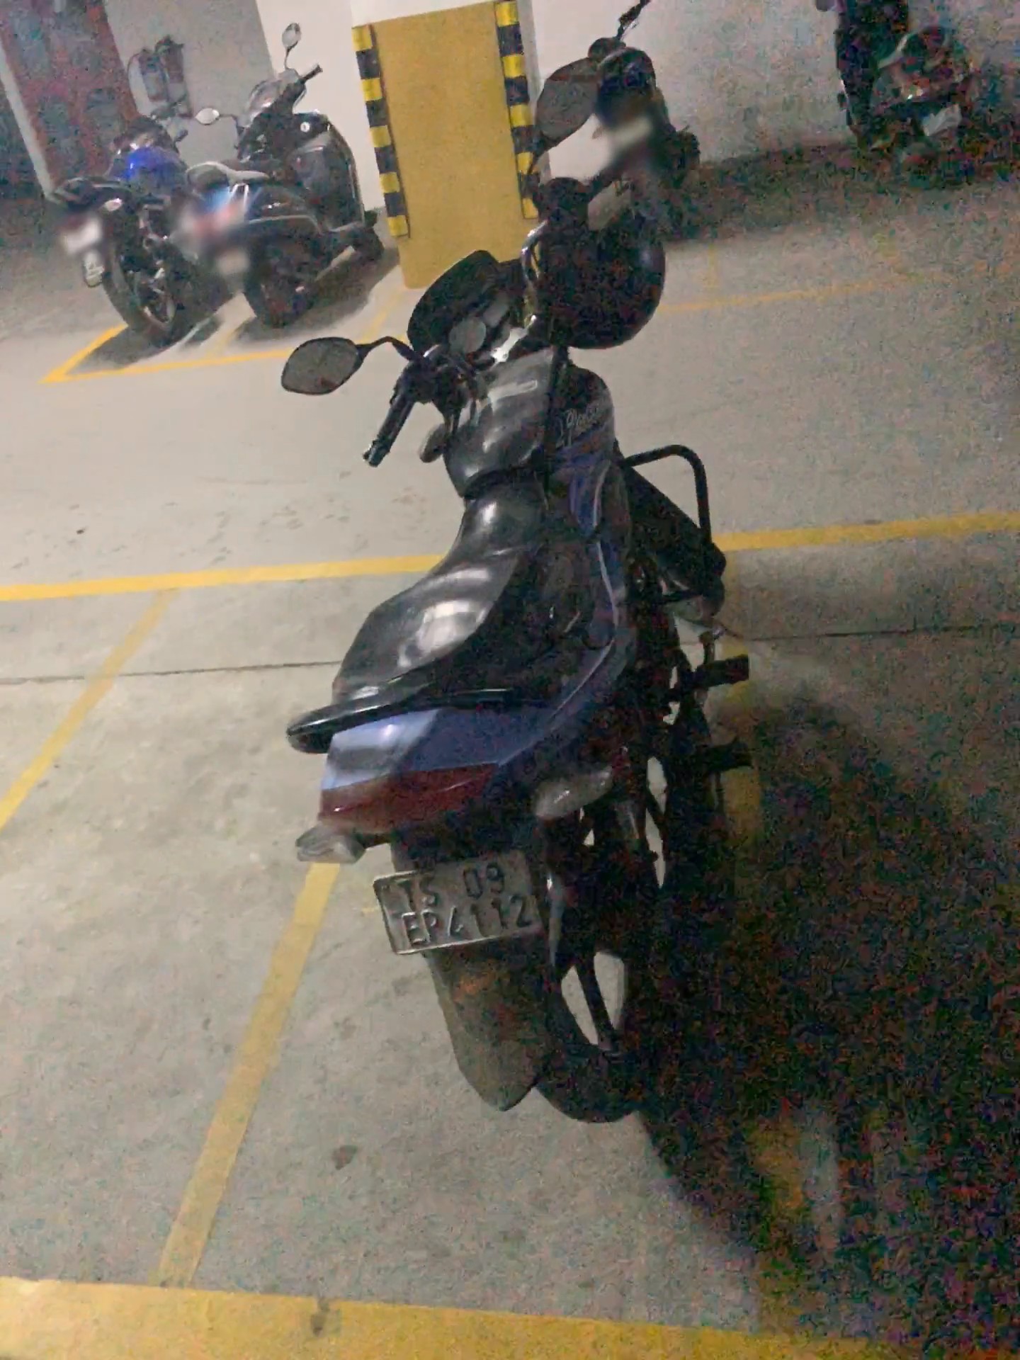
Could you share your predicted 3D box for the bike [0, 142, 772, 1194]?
[{"bbox_3d":[-0.104,-0.205,1.891,0.780,1.108,1.709,-6,34,6],"label":"bike"}]
